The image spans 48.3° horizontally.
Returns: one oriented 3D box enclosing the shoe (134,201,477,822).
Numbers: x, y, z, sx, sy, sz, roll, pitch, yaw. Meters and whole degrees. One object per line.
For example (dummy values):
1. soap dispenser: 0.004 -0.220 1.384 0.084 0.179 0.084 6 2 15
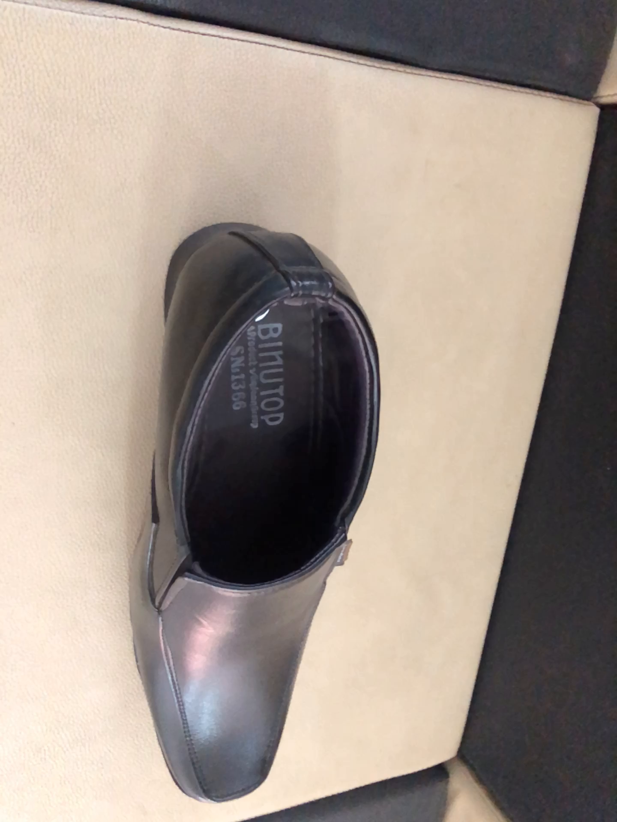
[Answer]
1. shoe: -0.017 0.066 0.299 0.100 0.090 0.291 -3 109 -22
